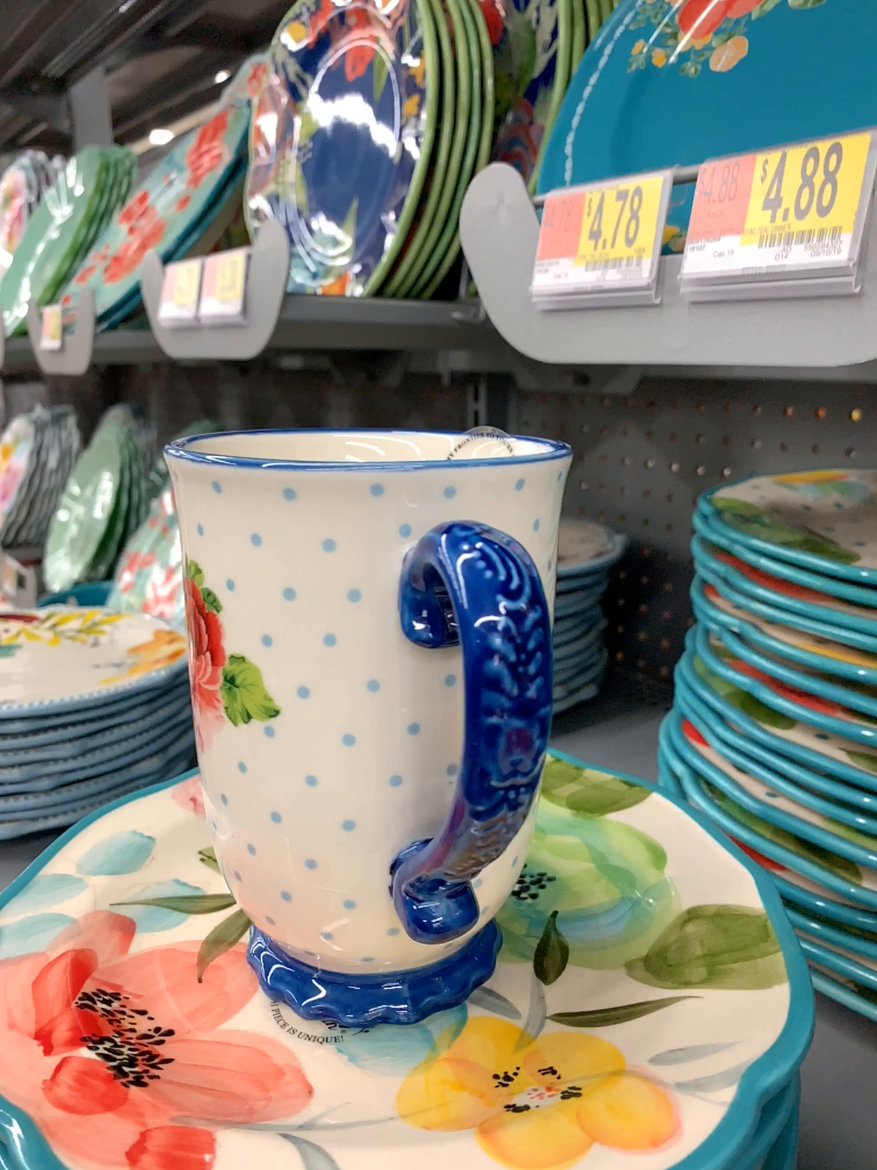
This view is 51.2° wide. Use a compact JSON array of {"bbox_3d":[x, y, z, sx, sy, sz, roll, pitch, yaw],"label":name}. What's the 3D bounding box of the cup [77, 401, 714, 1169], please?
[{"bbox_3d":[-0.022,0.029,0.207,0.090,0.130,0.130,-7,16,-24],"label":"cup"}]
